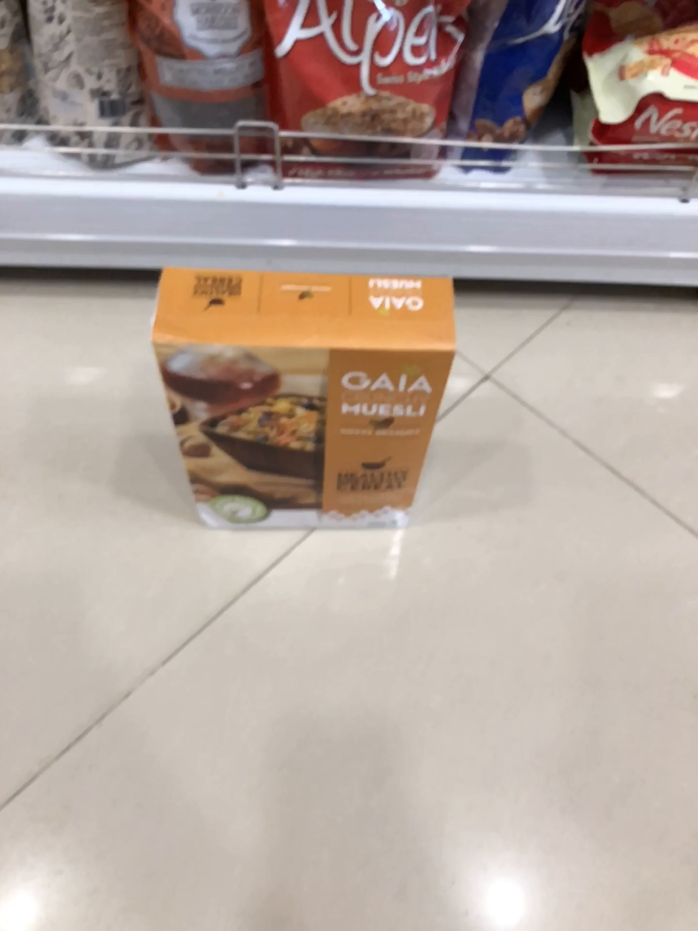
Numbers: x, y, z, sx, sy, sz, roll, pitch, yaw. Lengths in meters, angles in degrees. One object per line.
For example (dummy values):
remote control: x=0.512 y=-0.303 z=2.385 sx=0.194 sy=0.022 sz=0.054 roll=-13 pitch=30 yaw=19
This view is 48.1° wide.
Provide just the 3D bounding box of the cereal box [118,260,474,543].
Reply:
cereal box: x=-0.033 y=-0.027 z=0.541 sx=0.190 sy=0.249 sz=0.060 roll=2 pitch=61 yaw=-2
